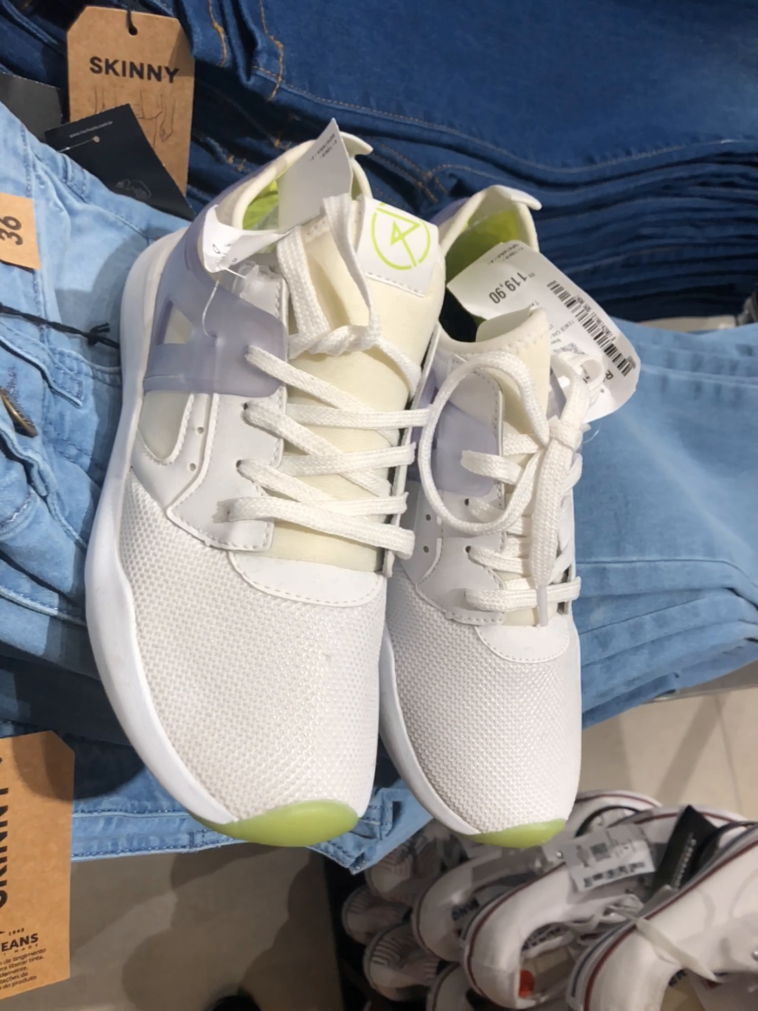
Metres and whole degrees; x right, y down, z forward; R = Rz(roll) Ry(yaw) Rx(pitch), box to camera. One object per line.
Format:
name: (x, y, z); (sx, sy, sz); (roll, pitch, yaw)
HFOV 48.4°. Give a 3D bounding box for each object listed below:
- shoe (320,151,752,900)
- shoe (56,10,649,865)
shoe: (0.048, 0.004, 0.331); (0.100, 0.090, 0.250); (0, 74, -22)
shoe: (-0.033, -0.031, 0.294); (0.110, 0.120, 0.260); (13, 48, -30)
